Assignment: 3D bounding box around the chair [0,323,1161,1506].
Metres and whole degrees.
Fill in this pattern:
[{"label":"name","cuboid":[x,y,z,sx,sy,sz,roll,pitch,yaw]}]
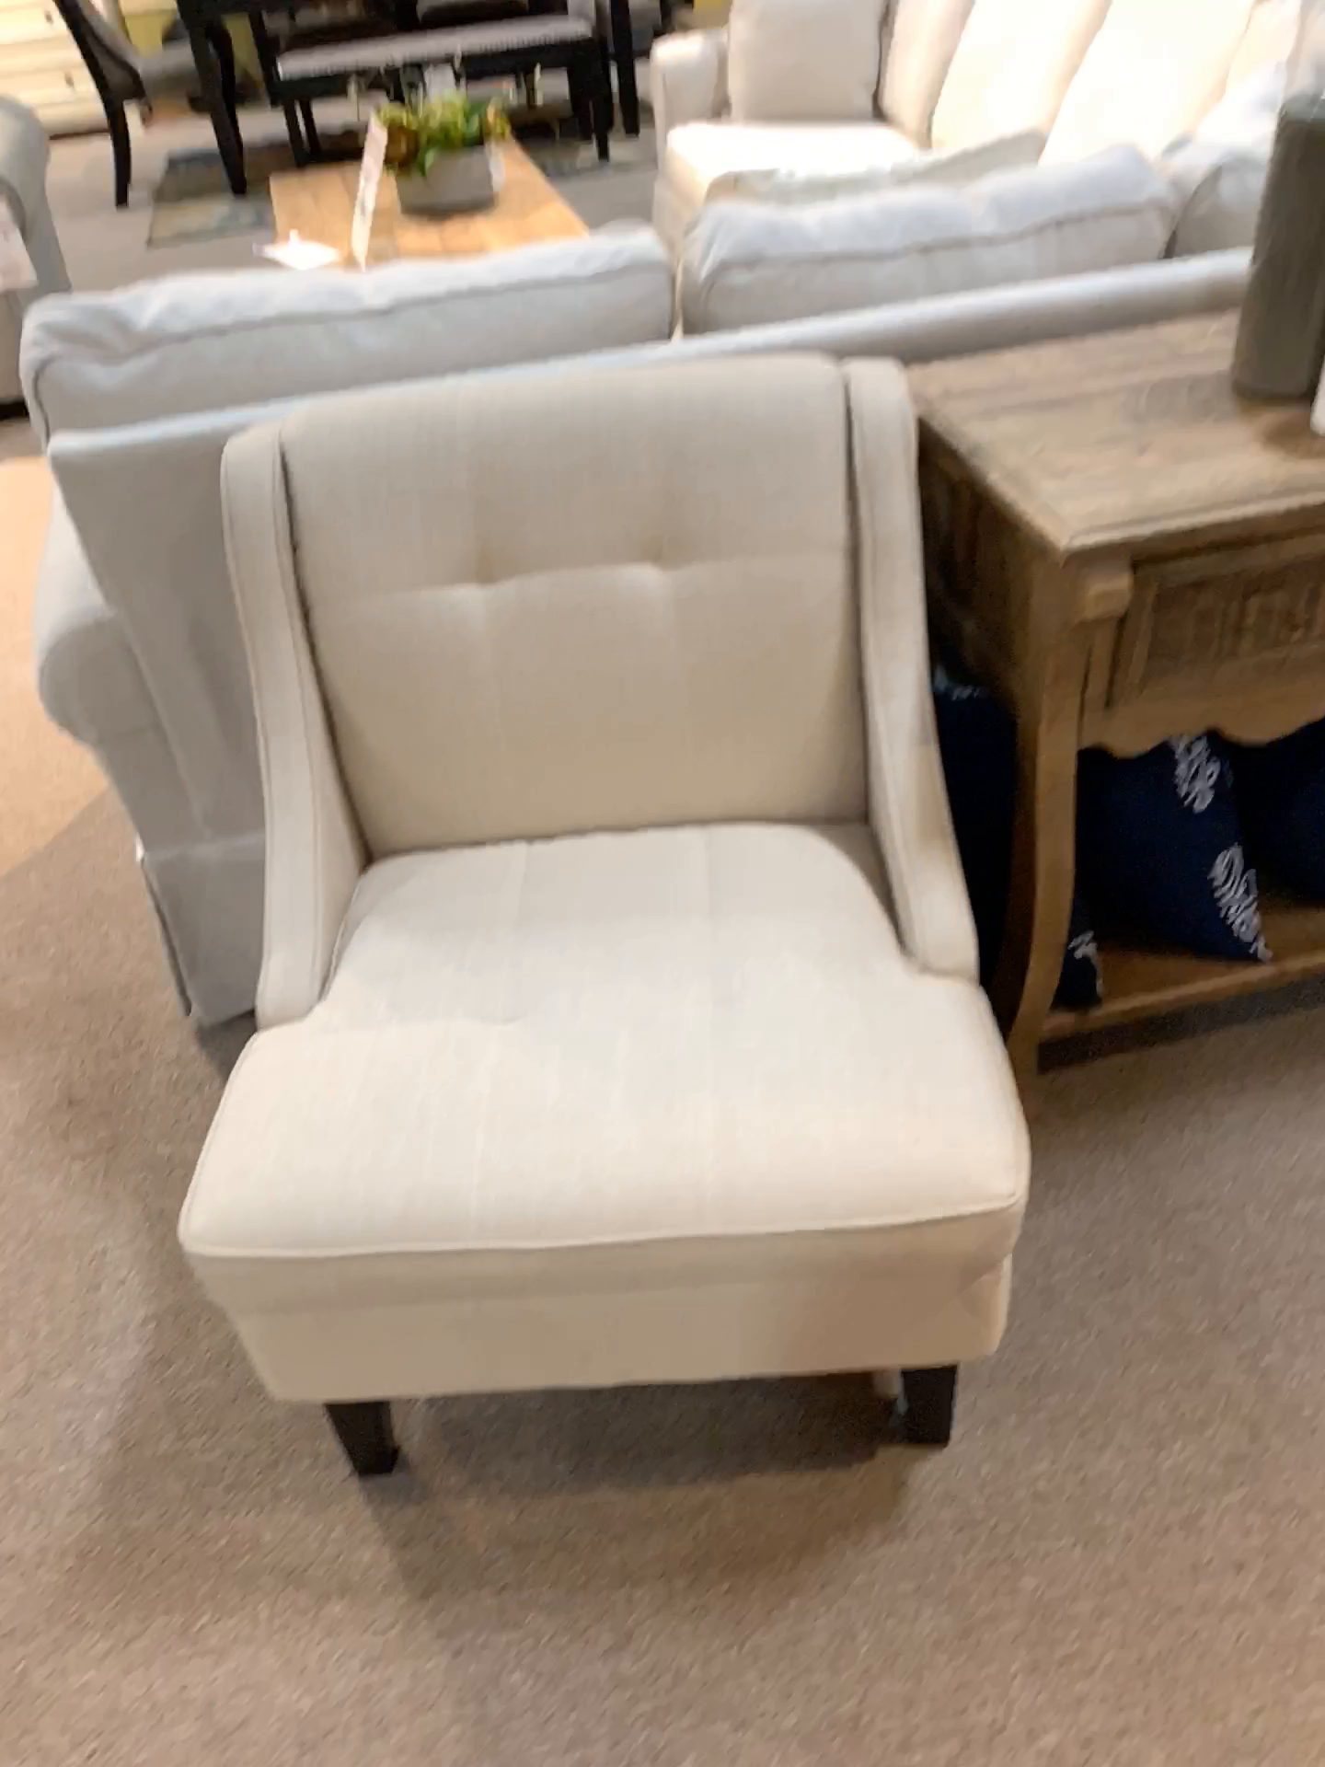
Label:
[{"label":"chair","cuboid":[-0.045,0.022,1.329,0.713,0.800,0.774,-4,40,3]}]
